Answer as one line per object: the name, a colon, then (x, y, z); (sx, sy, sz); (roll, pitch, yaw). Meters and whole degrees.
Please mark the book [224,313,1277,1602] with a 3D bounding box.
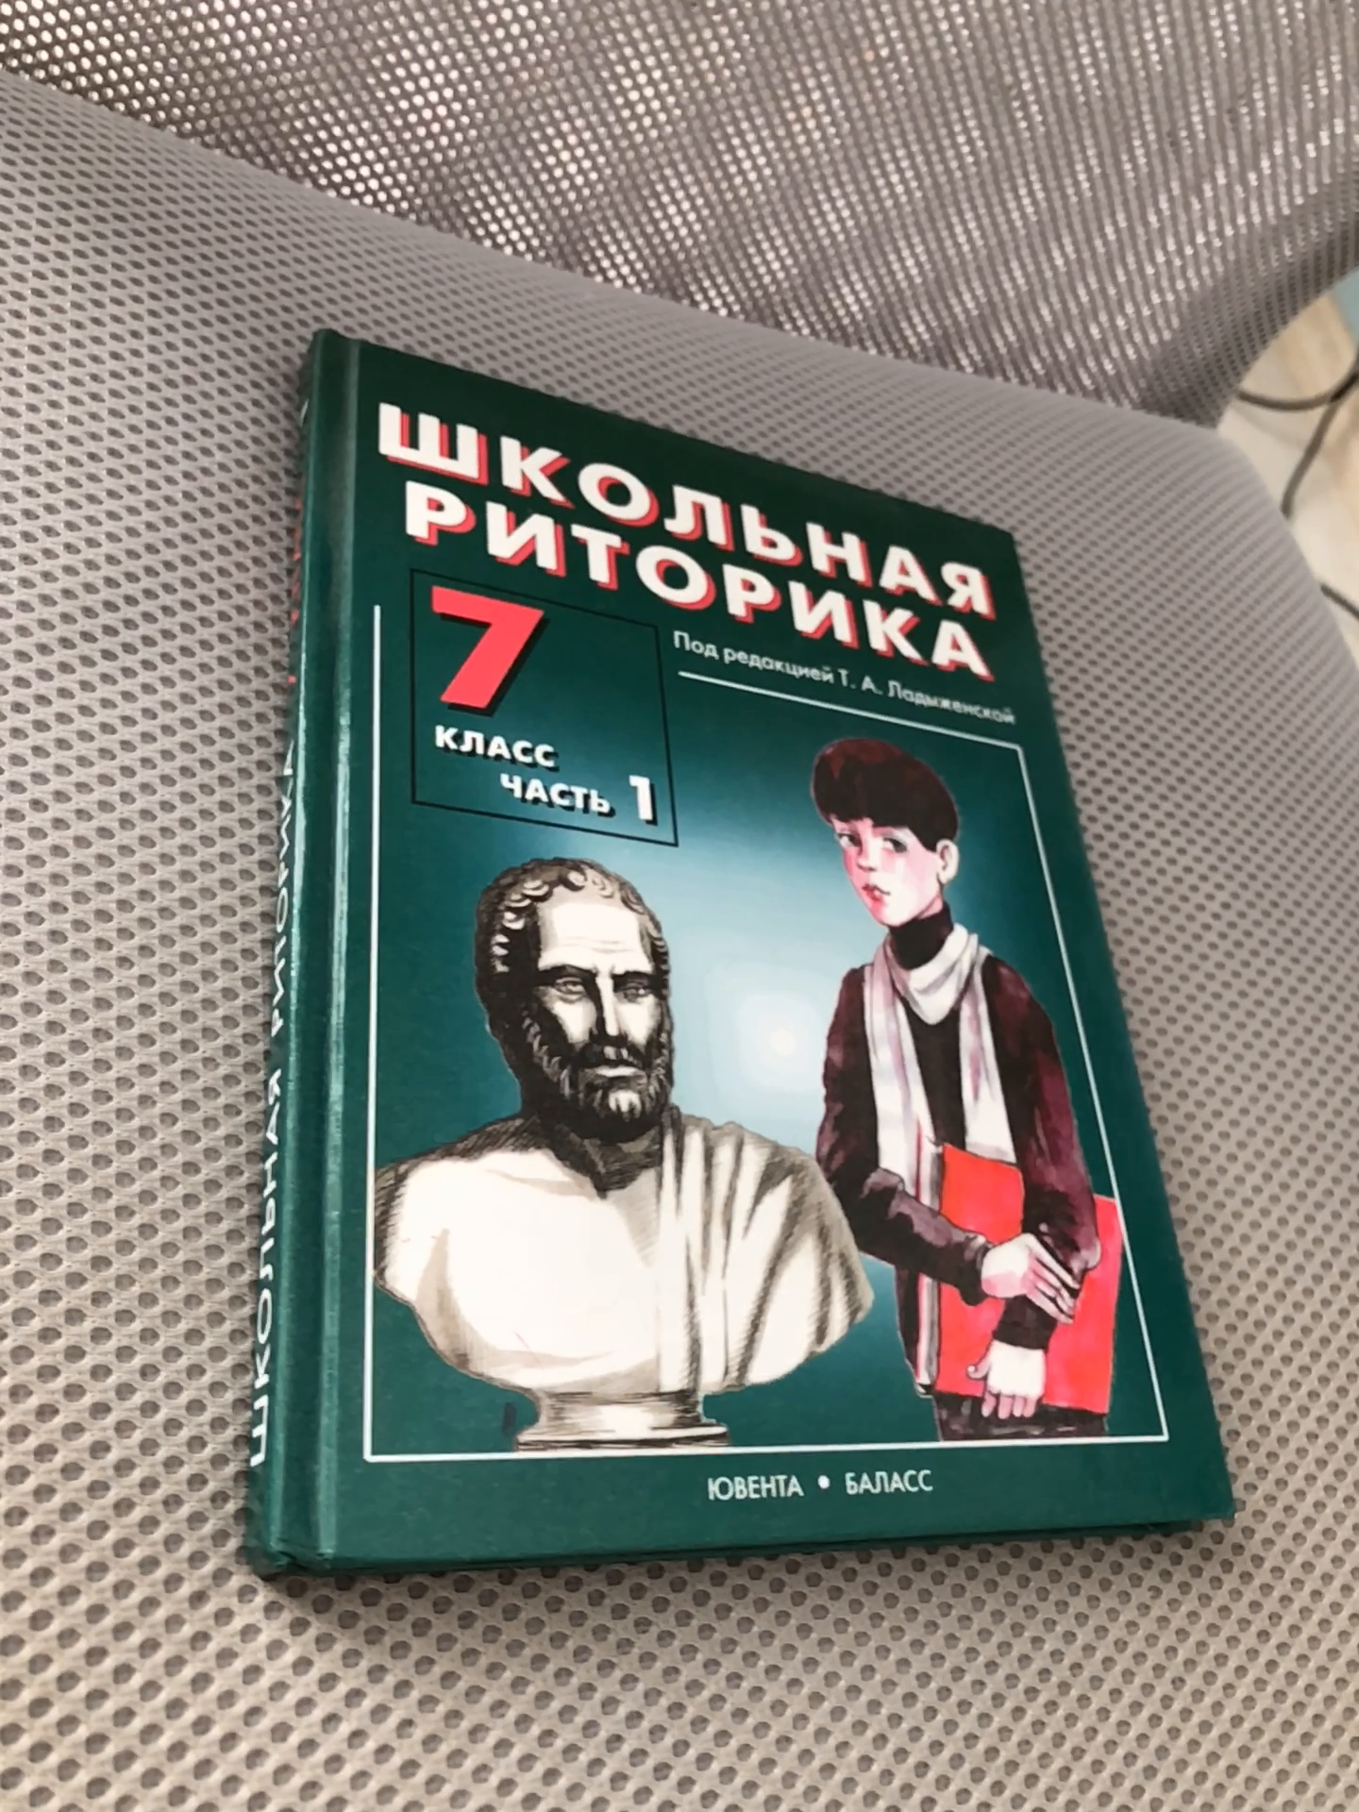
book: (0.011, 0.004, 0.276); (0.167, 0.030, 0.211); (8, 61, -26)
